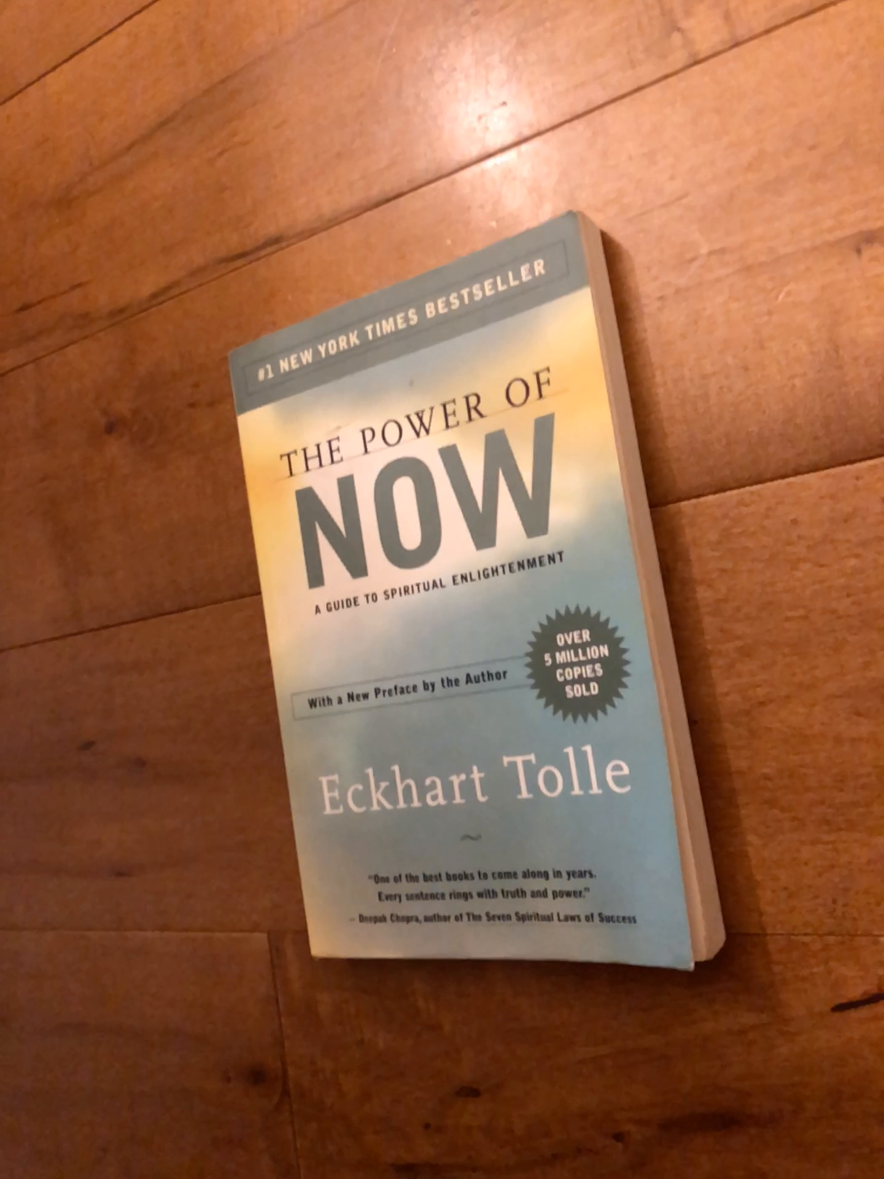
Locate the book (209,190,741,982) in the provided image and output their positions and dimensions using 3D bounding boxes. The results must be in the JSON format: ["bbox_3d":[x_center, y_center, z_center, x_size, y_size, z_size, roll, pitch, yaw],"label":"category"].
[{"bbox_3d":[0.000,0.007,0.320,0.147,0.030,0.222,-12,82,31],"label":"book"}]
